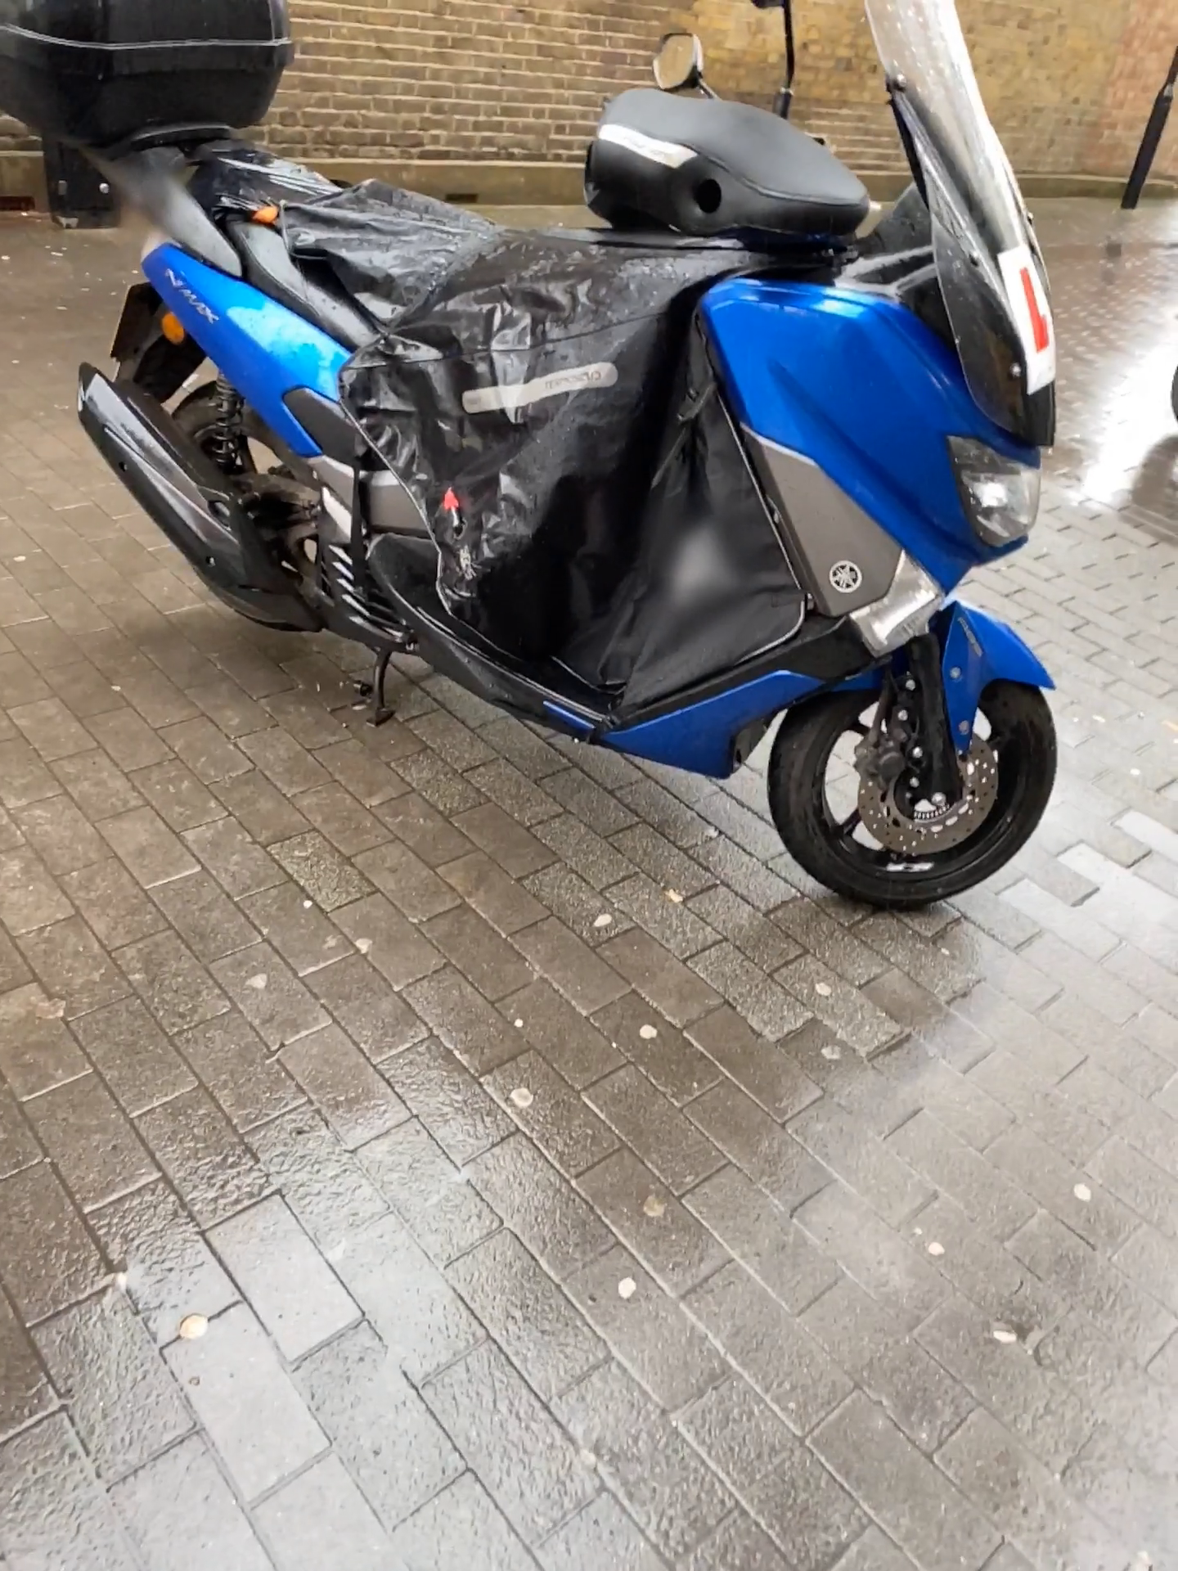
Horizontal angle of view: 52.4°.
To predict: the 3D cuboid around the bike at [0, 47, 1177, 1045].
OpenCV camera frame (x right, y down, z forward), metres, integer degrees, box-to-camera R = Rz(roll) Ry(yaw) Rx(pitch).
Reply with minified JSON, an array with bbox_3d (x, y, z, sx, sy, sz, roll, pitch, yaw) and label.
[{"bbox_3d":[-0.056,-0.480,1.957,1.731,0.998,0.681,20,35,17],"label":"bike"}]
